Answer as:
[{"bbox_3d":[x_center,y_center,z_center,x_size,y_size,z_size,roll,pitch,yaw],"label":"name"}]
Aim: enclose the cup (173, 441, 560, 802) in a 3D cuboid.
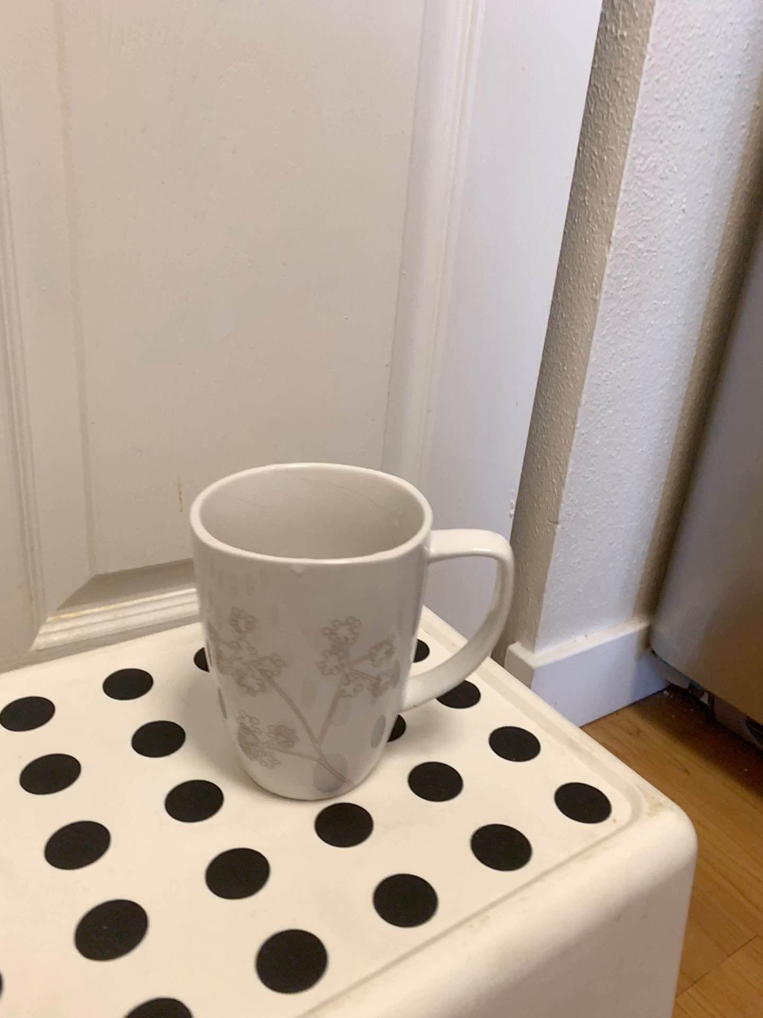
[{"bbox_3d":[-0.011,0.040,0.295,0.120,0.110,0.070,2,24,-8],"label":"cup"}]
